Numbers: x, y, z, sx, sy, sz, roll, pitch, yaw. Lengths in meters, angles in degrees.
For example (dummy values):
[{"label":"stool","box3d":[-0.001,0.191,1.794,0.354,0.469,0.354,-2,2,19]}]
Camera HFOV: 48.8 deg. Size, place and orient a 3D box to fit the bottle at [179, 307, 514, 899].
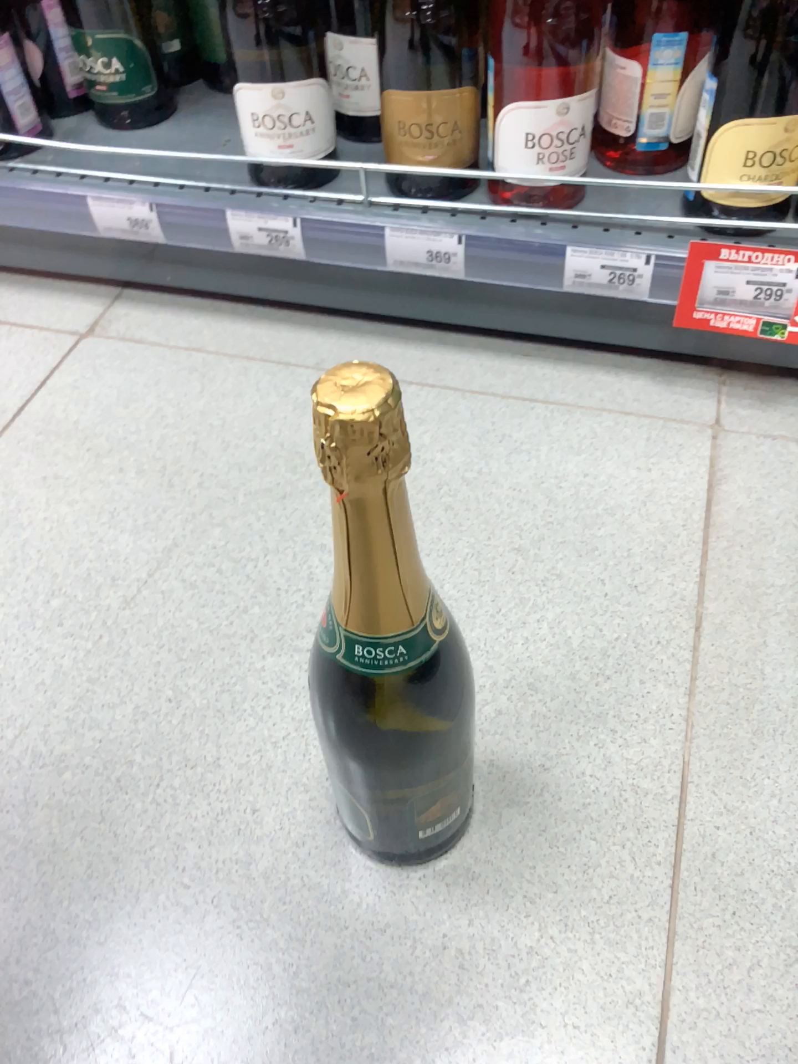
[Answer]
[{"label":"bottle","box3d":[-0.005,0.060,0.408,0.090,0.314,0.090,-2,48,2]}]
